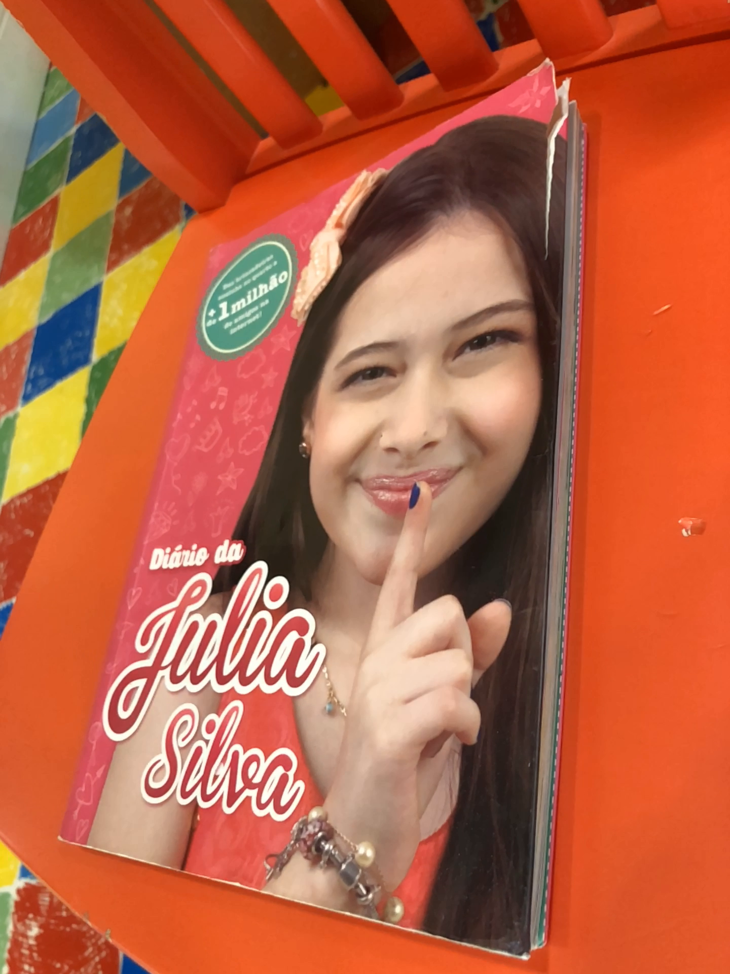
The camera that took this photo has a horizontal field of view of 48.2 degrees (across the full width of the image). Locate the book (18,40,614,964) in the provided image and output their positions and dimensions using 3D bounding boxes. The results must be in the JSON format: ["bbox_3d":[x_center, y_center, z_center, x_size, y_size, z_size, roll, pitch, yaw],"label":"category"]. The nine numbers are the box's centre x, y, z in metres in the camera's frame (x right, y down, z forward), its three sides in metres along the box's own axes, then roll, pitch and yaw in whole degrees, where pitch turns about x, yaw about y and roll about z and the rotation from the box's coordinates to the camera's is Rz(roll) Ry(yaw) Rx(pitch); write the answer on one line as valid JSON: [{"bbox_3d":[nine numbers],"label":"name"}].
[{"bbox_3d":[-0.015,-0.009,0.254,0.171,0.020,0.241,-8,62,36],"label":"book"}]
